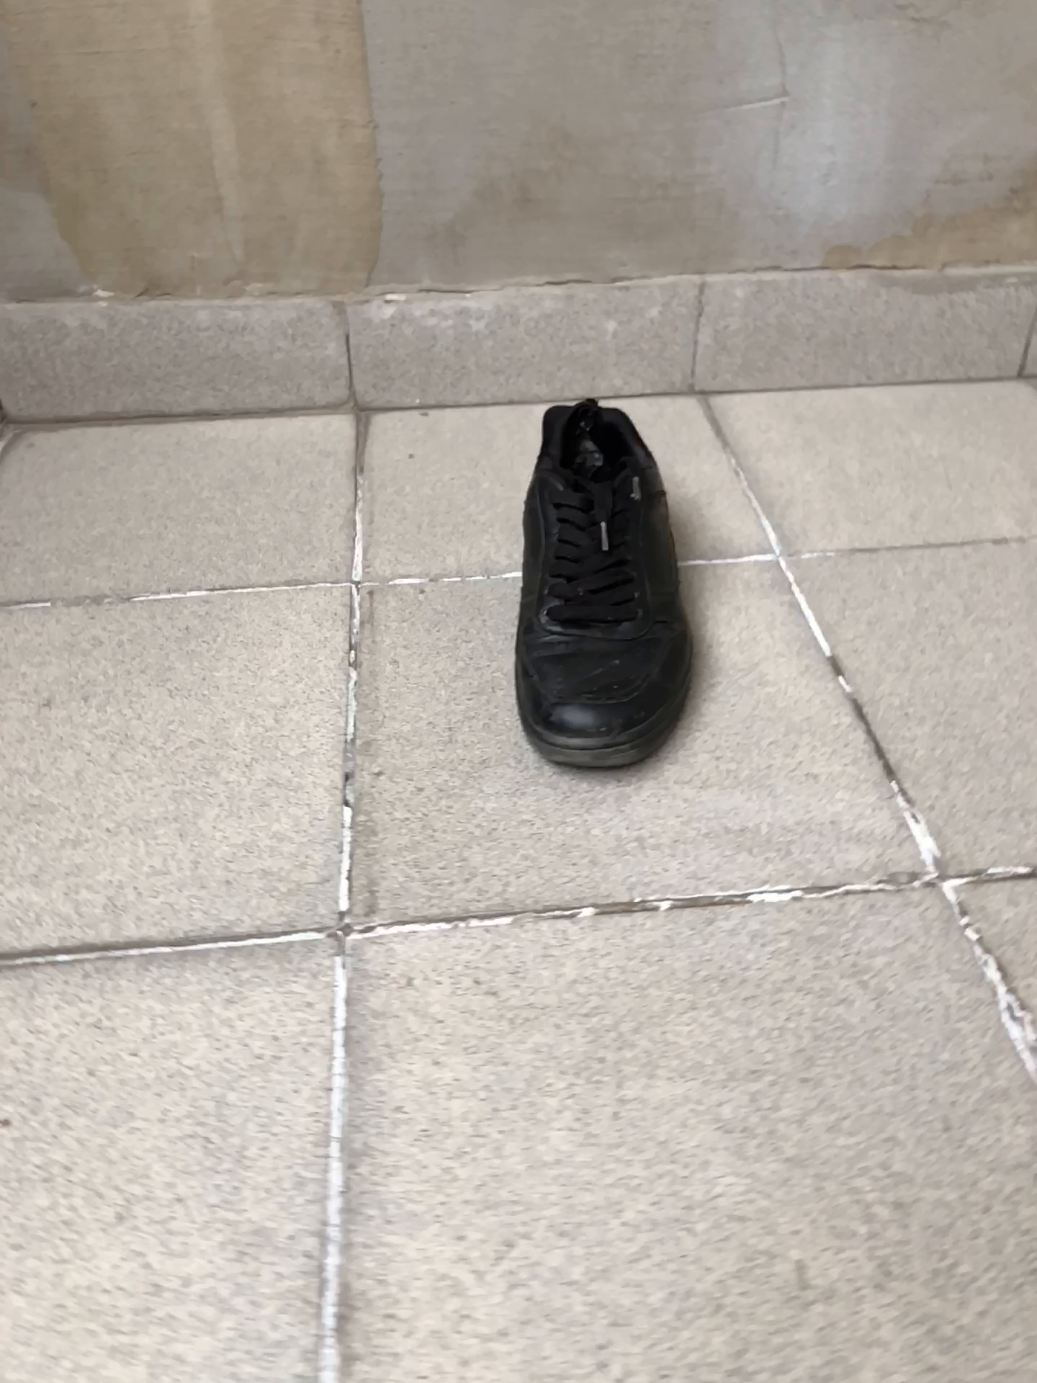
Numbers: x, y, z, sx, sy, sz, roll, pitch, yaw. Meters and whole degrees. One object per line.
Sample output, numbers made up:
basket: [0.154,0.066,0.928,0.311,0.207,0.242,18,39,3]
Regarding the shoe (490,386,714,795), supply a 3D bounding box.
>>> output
shoe: [0.049,-0.077,0.704,0.110,0.099,0.292,3,39,2]
